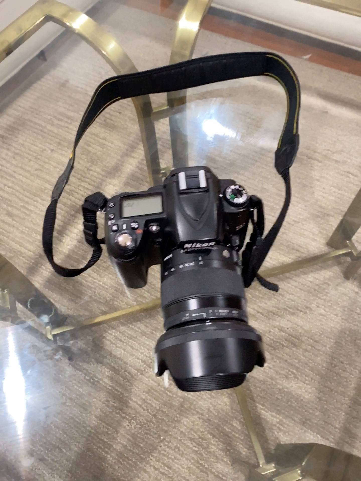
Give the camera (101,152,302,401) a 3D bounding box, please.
[{"bbox_3d":[0.008,0.036,0.339,0.130,0.120,0.180,-7,61,-1],"label":"camera"}]
